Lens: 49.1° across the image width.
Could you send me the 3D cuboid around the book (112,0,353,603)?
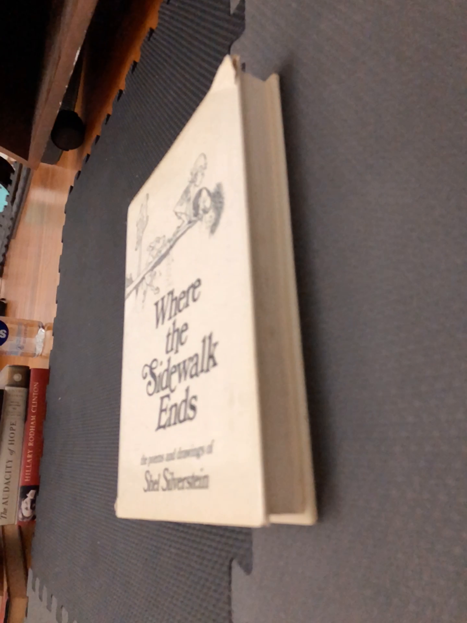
[{"bbox_3d":[-0.021,-0.004,0.306,0.201,0.030,0.280,-31,55,56],"label":"book"}]
